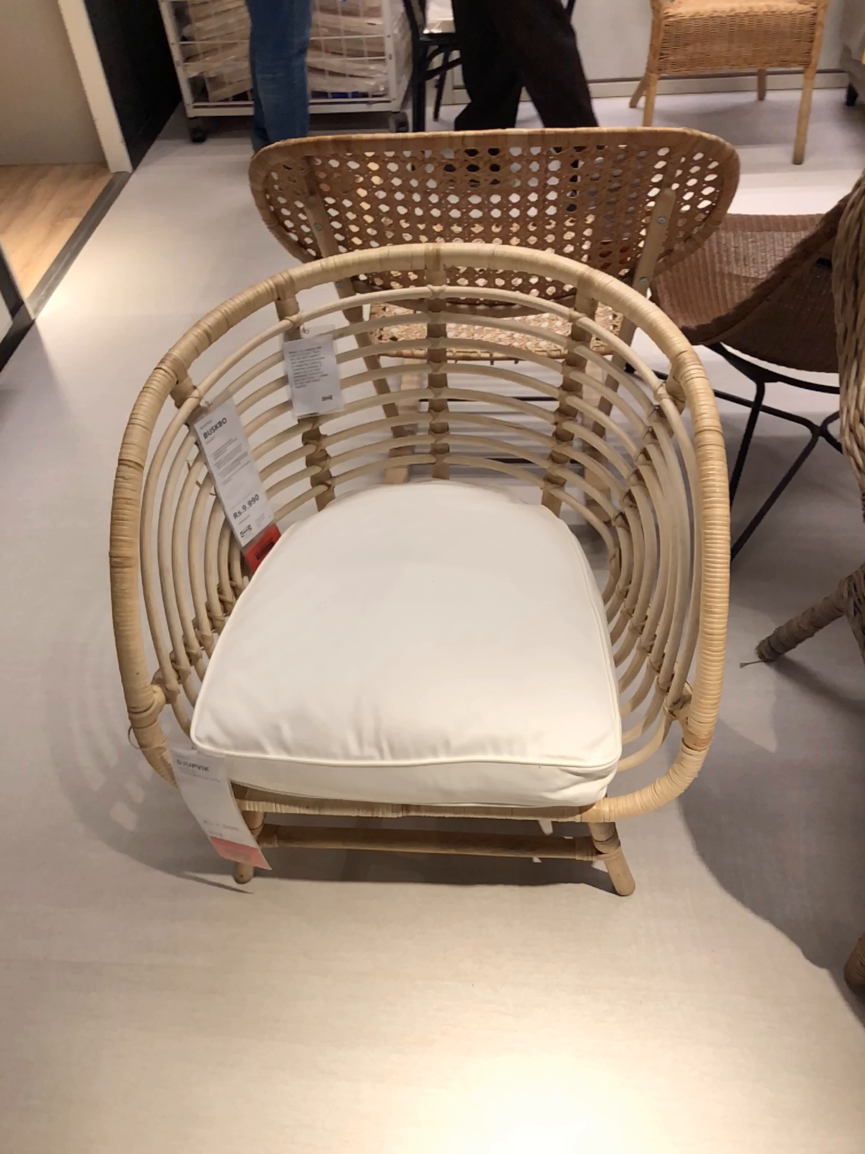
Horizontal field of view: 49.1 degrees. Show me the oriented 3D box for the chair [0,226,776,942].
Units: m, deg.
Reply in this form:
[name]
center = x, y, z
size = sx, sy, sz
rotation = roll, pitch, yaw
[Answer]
[chair]
center = -0.011, 0.012, 1.431
size = 0.780, 0.775, 0.704
rotation = 1, 46, 7
